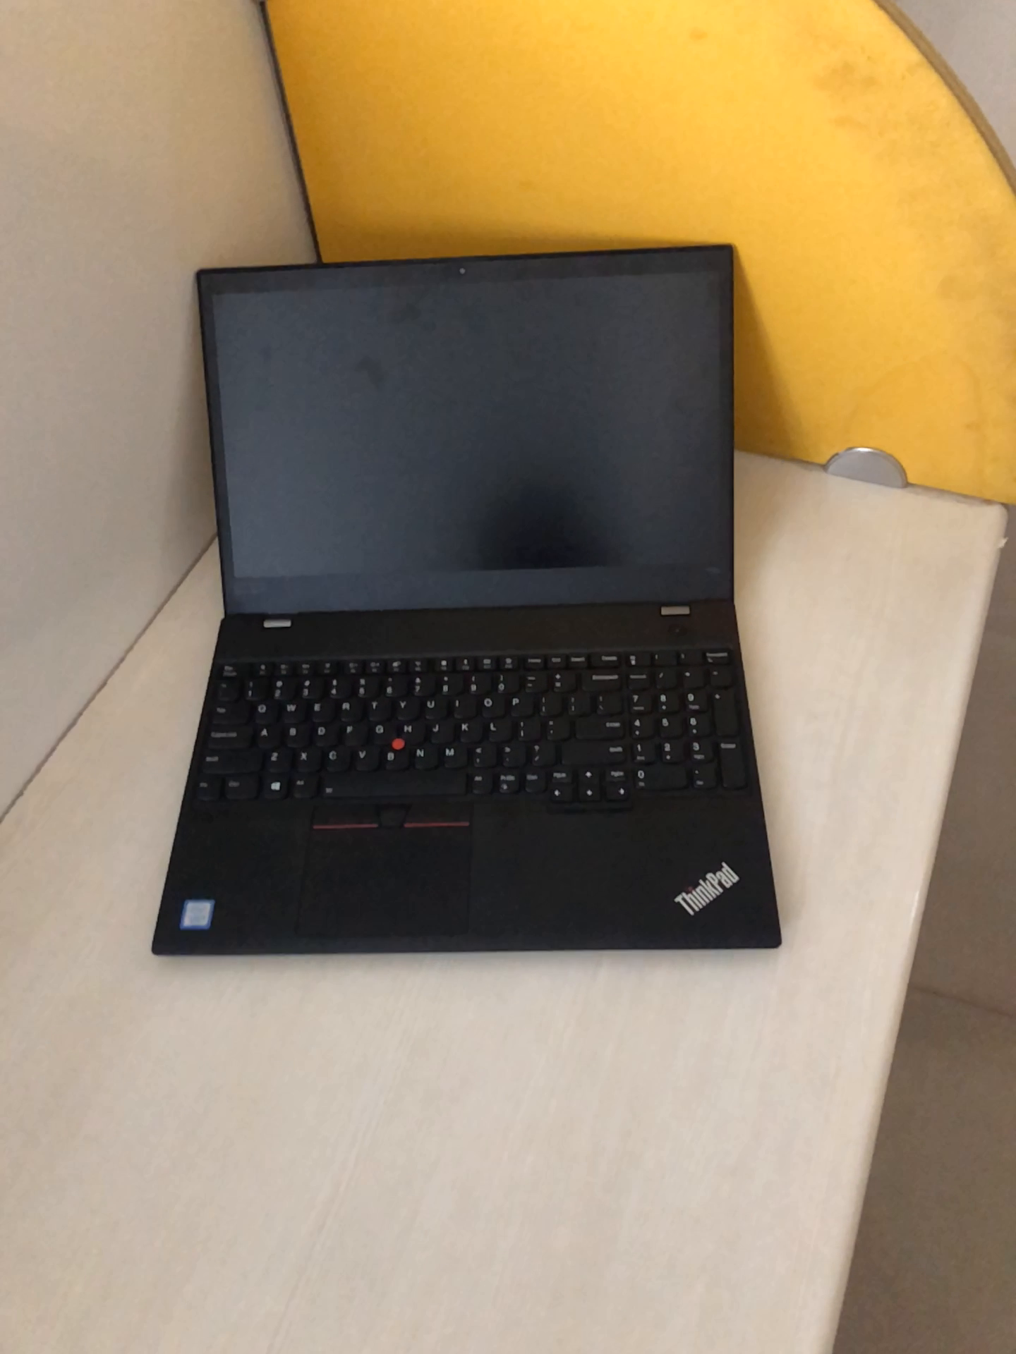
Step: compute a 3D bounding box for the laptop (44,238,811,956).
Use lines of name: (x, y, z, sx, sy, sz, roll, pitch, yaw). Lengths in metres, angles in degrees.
laptop: (-0.034, -0.065, 0.679, 0.344, 0.150, 0.422, -1, 55, 2)
